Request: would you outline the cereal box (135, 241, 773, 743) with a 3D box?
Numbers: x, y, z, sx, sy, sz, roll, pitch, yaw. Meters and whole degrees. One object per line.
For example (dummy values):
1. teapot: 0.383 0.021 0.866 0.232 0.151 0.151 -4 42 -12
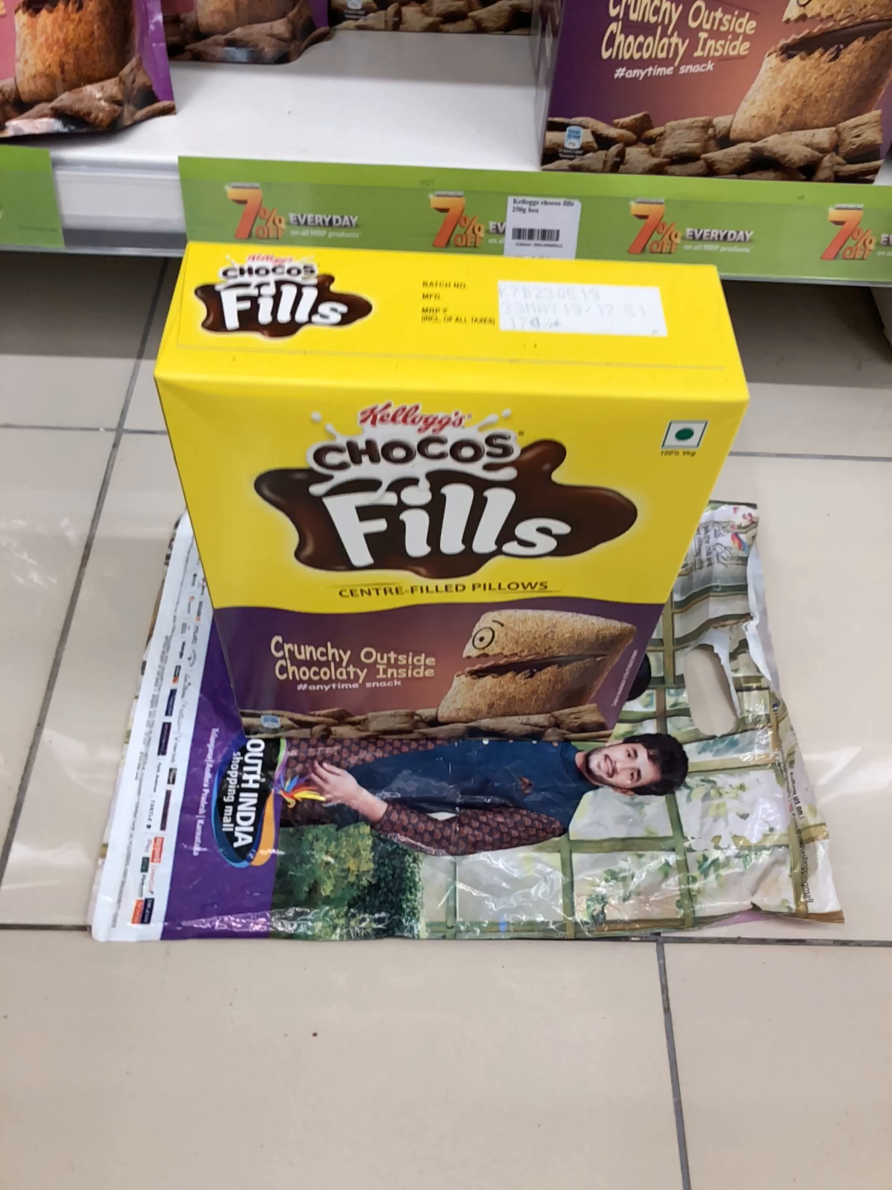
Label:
1. cereal box: -0.002 -0.023 0.407 0.190 0.229 0.070 1 55 -3
